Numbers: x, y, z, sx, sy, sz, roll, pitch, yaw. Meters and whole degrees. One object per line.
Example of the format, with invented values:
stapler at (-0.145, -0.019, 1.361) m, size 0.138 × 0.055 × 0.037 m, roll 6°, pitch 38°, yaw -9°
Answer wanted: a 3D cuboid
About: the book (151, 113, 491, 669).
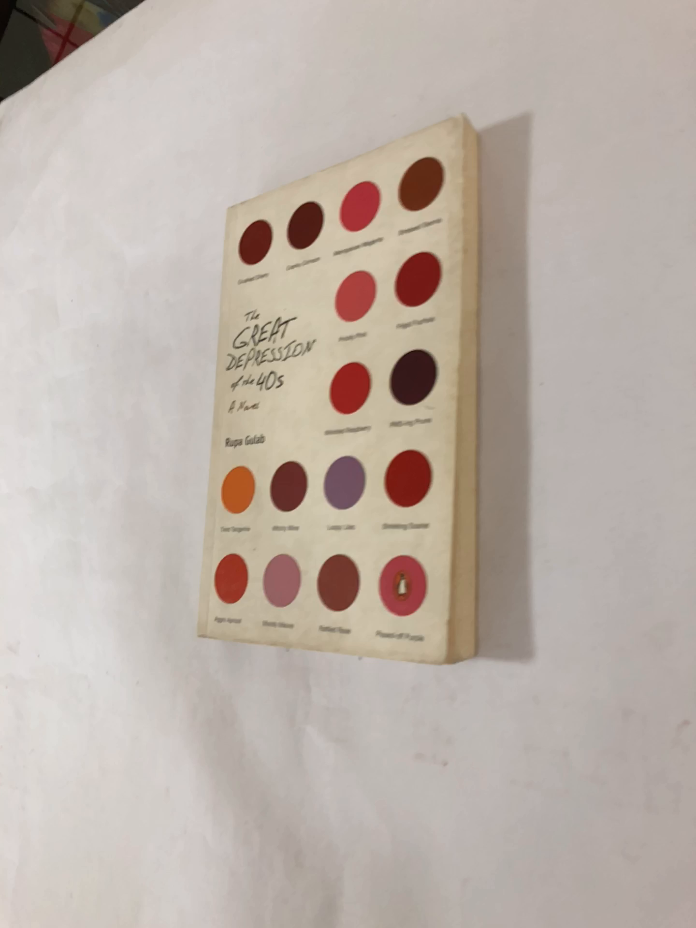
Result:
book at (-0.014, -0.022, 0.310) m, size 0.141 × 0.030 × 0.190 m, roll -6°, pitch 77°, yaw 39°
